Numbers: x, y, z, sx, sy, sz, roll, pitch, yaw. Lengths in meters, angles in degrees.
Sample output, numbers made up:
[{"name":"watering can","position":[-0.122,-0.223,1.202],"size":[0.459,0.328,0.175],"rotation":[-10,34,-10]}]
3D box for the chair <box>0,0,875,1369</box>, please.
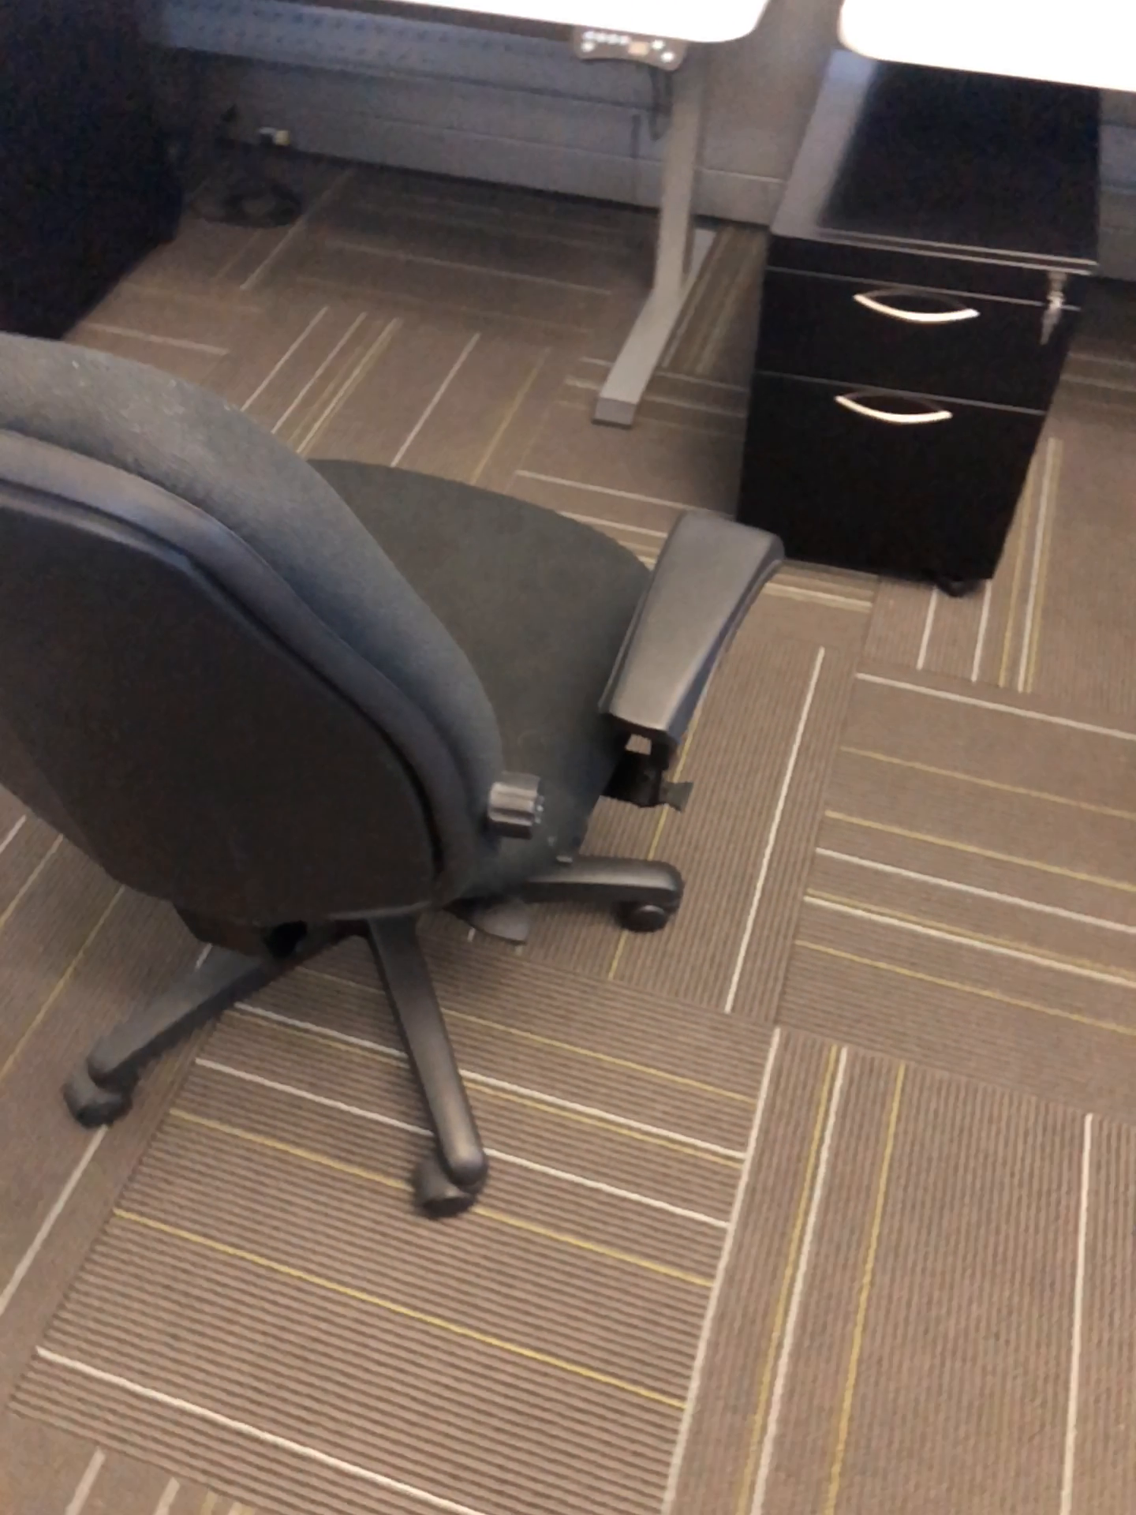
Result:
[{"name":"chair","position":[-0.231,-0.040,1.159],"size":[0.741,0.956,0.682],"rotation":[14,51,11]}]
